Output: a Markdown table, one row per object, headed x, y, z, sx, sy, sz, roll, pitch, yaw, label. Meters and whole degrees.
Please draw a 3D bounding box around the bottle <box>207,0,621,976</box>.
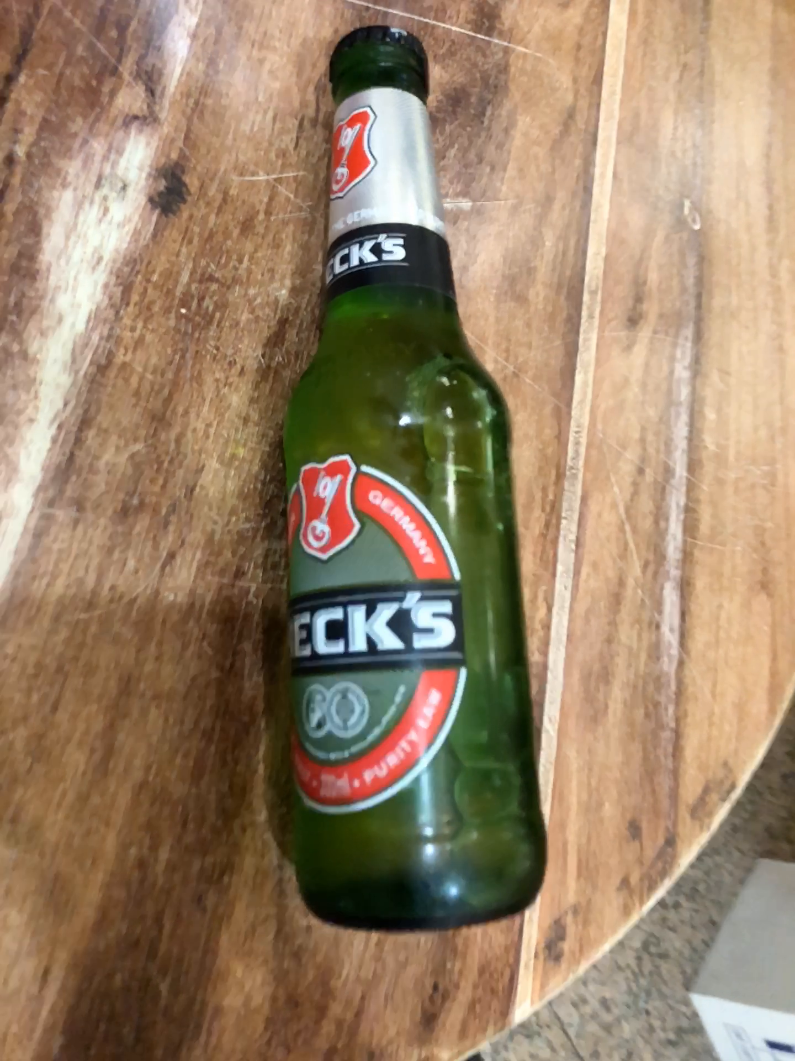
| x | y | z | sx | sy | sz | roll | pitch | yaw | label |
| --- | --- | --- | --- | --- | --- | --- | --- | --- | --- |
| -0.001 | -0.024 | 0.226 | 0.070 | 0.060 | 0.230 | 6 | 75 | -41 | bottle |
